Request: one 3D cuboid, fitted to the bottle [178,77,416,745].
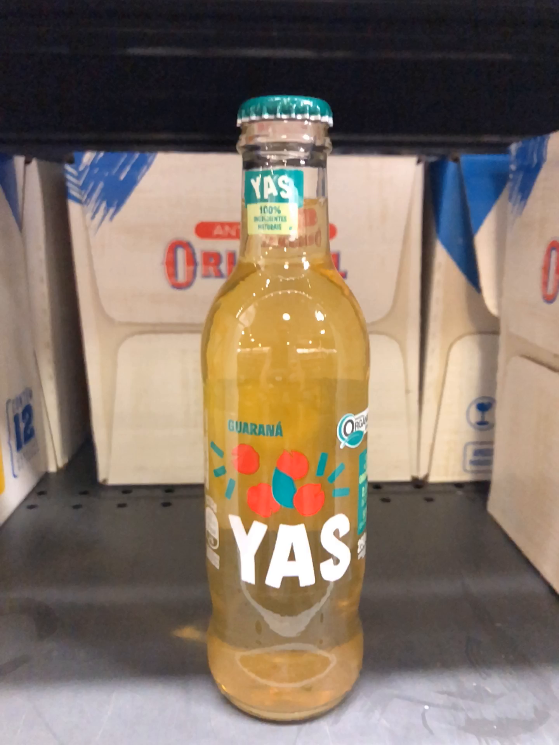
[{"bbox_3d":[0.003,0.016,0.210,0.060,0.199,0.060,0,14,0],"label":"bottle"}]
